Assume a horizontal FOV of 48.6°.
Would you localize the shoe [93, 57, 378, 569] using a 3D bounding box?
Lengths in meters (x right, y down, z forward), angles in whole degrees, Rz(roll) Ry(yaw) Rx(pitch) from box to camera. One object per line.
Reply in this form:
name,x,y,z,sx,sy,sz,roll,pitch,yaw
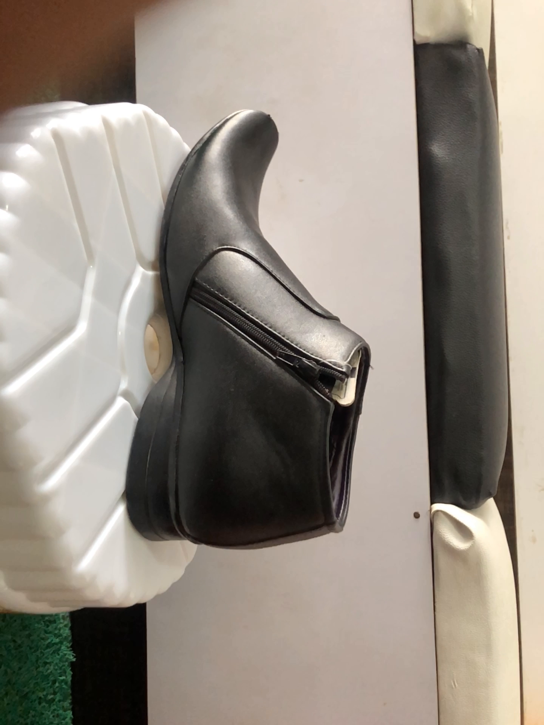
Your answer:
shoe,0.001,-0.037,0.398,0.121,0.119,0.310,61,31,-57
